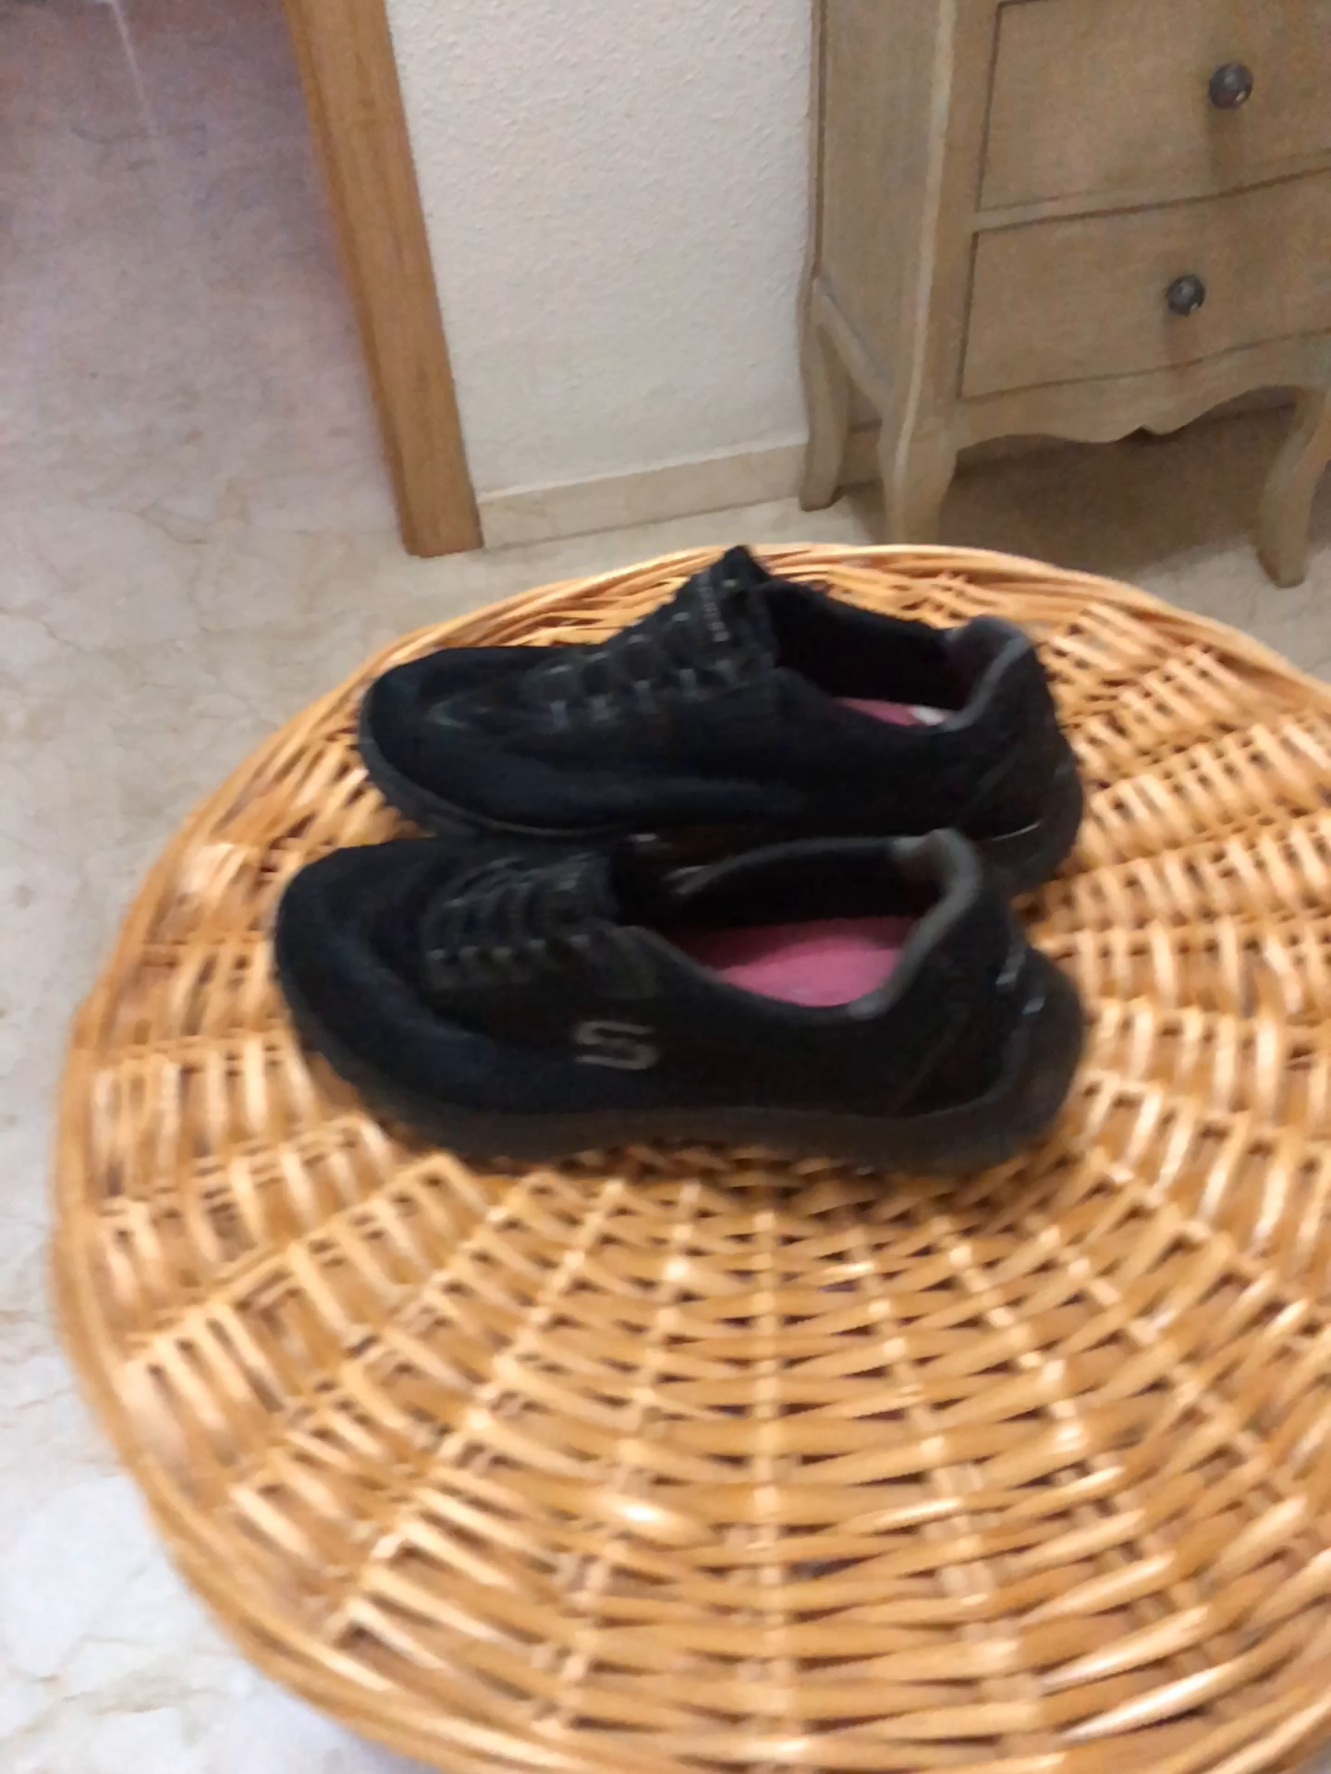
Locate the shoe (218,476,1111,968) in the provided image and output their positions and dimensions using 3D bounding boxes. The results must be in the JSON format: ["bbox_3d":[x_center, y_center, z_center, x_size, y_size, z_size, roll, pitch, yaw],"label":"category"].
[{"bbox_3d":[0.006,-0.061,0.494,0.264,0.079,0.118,7,50,11],"label":"shoe"}]

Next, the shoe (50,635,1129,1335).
[{"bbox_3d":[-0.018,0.018,0.422,0.264,0.079,0.118,13,51,15],"label":"shoe"}]
